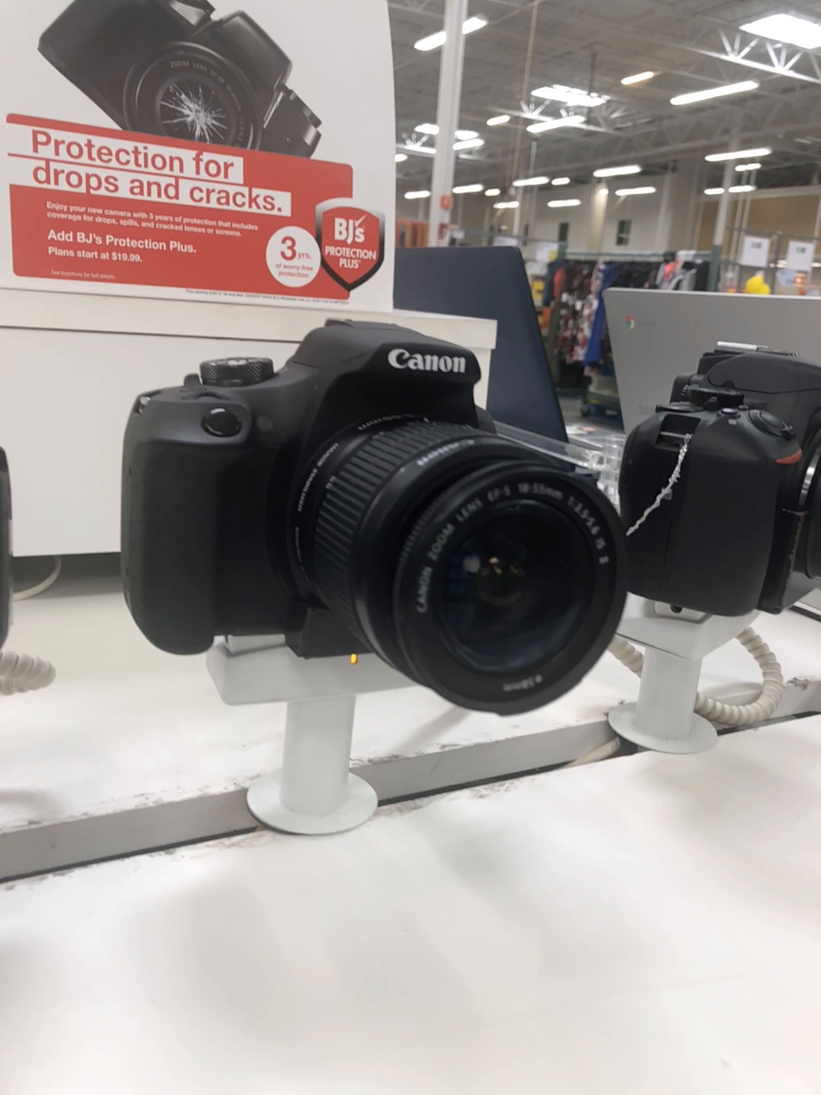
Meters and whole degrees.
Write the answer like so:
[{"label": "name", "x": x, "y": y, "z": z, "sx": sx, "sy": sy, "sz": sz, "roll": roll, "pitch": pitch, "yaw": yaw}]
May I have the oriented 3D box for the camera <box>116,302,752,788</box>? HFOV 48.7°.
[{"label": "camera", "x": -0.006, "y": -0.016, "z": 0.265, "sx": 0.130, "sy": 0.092, "sz": 0.132, "roll": -4, "pitch": 18, "yaw": -28}]
